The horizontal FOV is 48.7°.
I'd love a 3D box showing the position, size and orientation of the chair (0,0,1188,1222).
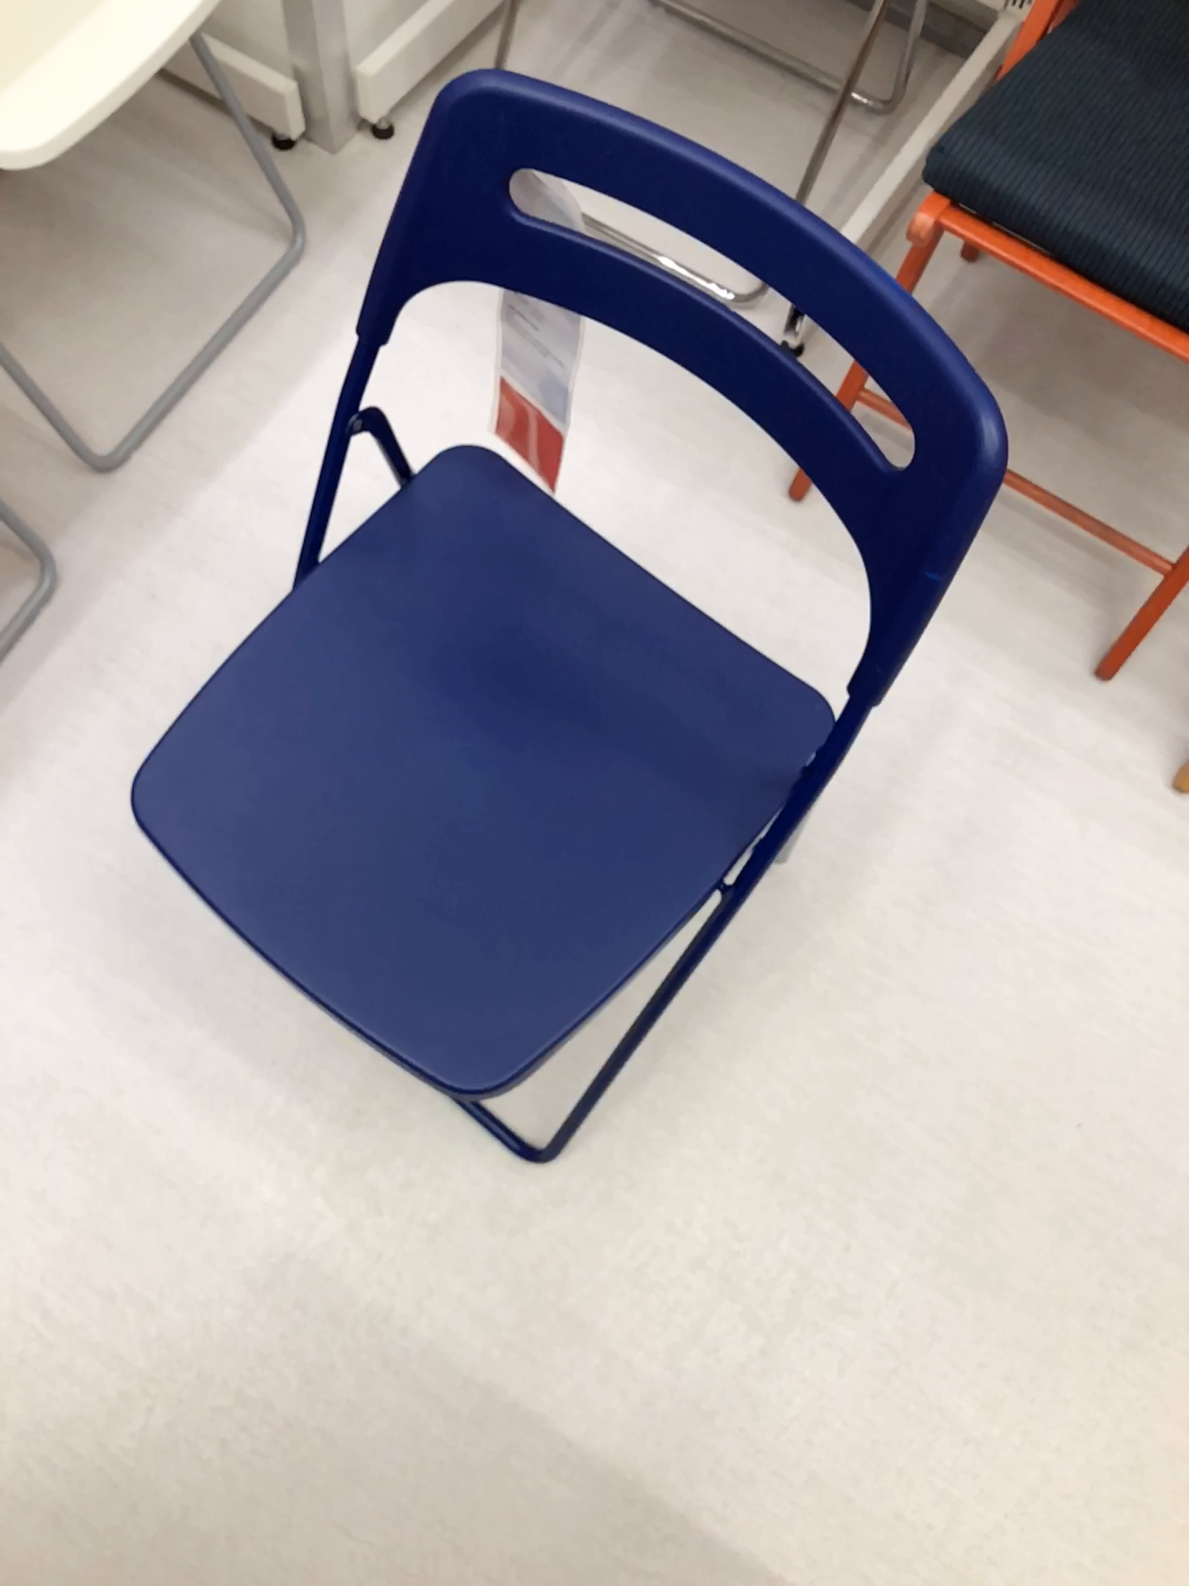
[{"bbox_3d":[-0.032,-0.056,0.989,0.460,0.698,0.501,38,71,11],"label":"chair"}]
